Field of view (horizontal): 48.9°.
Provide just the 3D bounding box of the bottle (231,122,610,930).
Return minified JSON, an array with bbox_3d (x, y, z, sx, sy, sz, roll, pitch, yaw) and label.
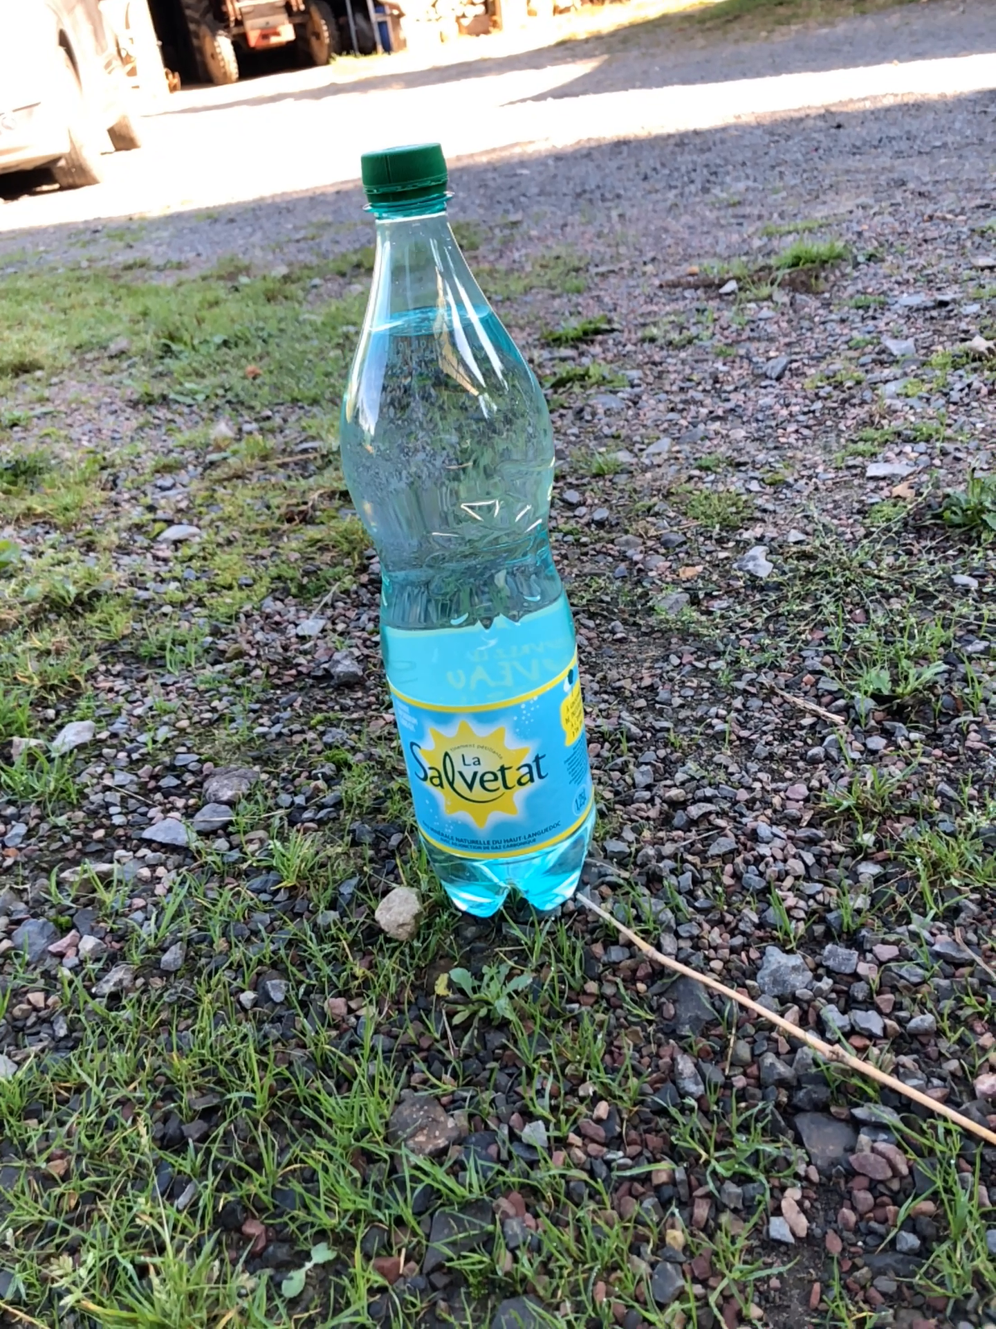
[{"bbox_3d":[-0.013,-0.045,0.440,0.090,0.298,0.101,-1,28,12],"label":"bottle"}]
